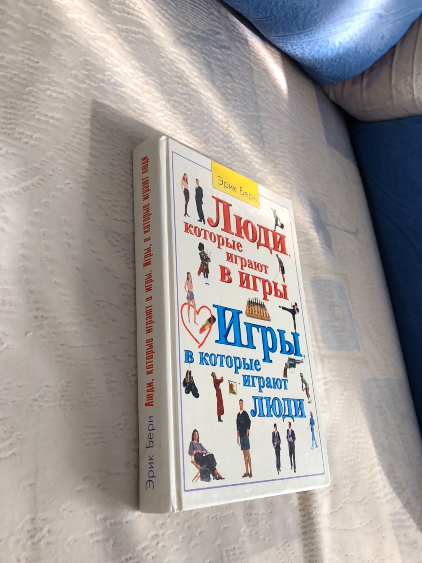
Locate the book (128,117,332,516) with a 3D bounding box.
[{"bbox_3d":[0.012,0.020,0.294,0.135,0.030,0.210,17,61,-44],"label":"book"}]
